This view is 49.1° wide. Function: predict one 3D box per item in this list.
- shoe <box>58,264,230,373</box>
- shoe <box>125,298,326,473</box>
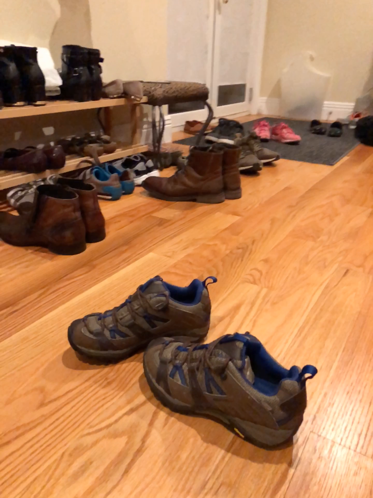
[{"bbox_3d":[-0.068,0.103,0.654,0.252,0.094,0.097,-7,26,-17],"label":"shoe"},{"bbox_3d":[0.044,0.166,0.545,0.240,0.106,0.095,15,28,29],"label":"shoe"}]
